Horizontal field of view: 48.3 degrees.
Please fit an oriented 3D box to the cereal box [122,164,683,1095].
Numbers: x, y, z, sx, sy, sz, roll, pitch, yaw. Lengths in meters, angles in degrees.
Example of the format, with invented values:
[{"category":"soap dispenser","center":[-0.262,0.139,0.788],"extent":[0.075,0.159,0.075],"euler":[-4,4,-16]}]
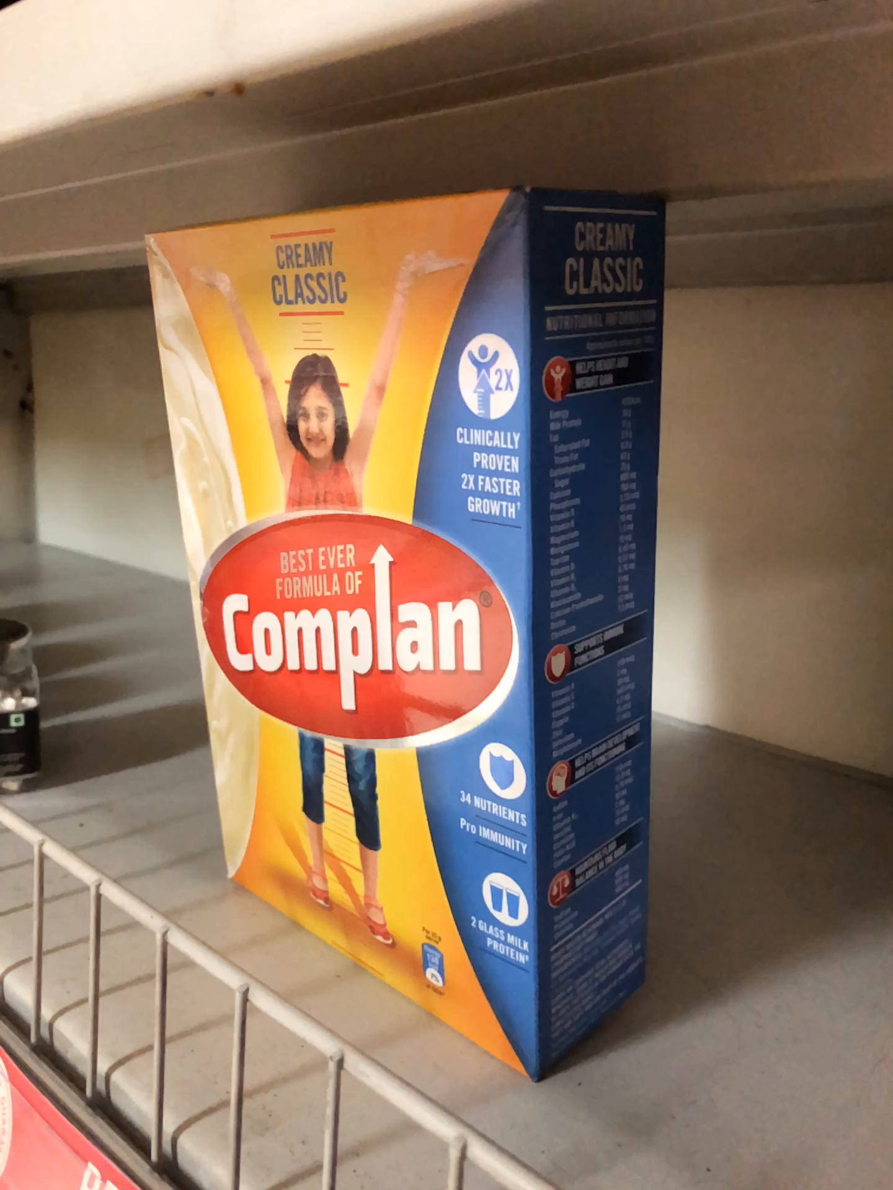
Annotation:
[{"category":"cereal box","center":[-0.018,0.001,0.272],"extent":[0.150,0.199,0.050],"euler":[13,21,43]}]
